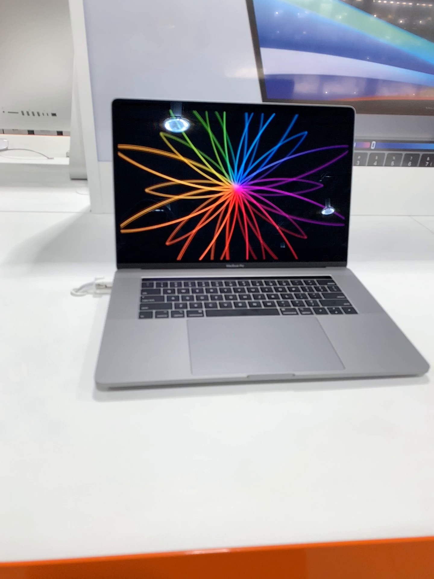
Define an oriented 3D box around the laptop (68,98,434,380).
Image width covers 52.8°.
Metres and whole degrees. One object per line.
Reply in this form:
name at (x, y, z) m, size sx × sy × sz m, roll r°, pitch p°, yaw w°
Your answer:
laptop at (0.039, -0.082, 0.503) m, size 0.330 × 0.205 × 0.304 m, roll -1°, pitch 29°, yaw -8°
